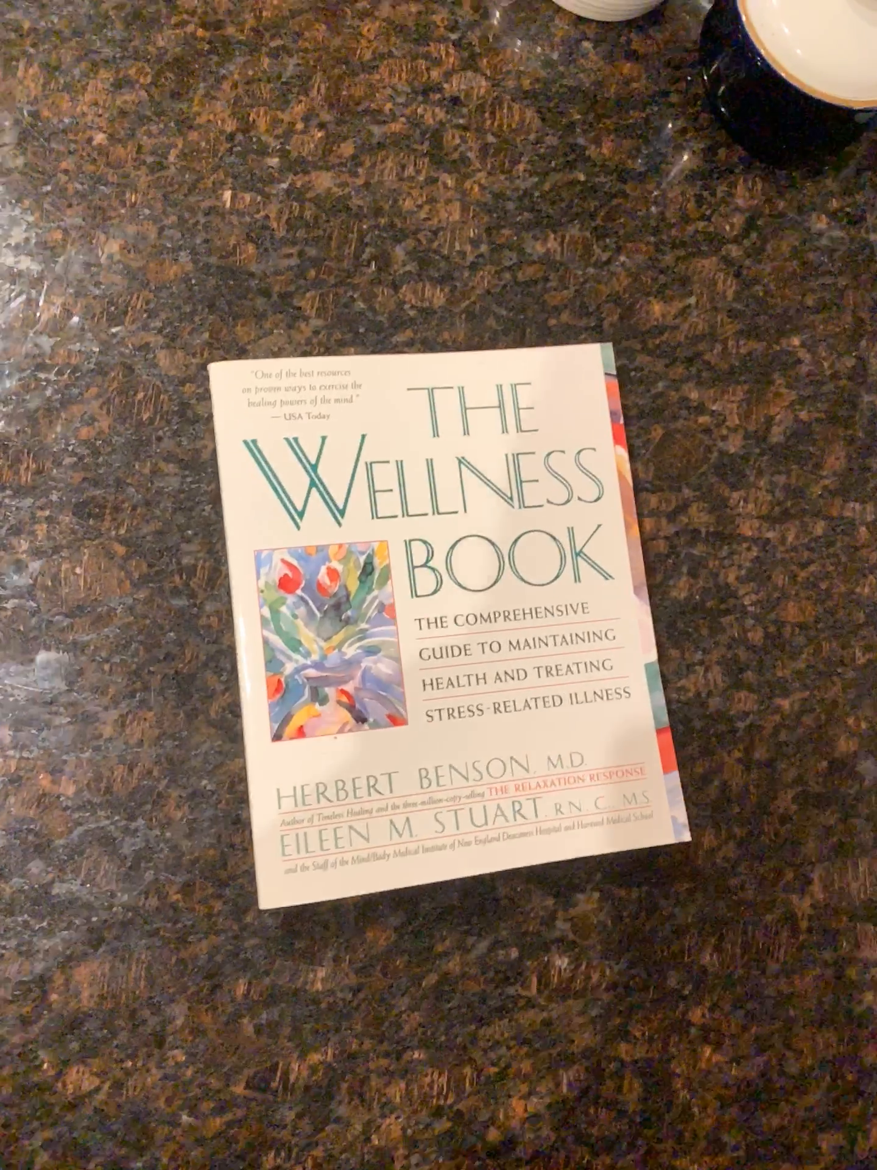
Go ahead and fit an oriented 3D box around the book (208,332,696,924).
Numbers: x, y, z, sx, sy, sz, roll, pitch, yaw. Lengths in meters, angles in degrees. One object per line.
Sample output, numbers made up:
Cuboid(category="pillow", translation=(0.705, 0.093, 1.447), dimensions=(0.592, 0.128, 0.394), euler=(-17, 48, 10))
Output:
Cuboid(category="book", translation=(0.001, 0.012, 0.421), dimensions=(0.187, 0.060, 0.240), euler=(-5, 82, -12))
